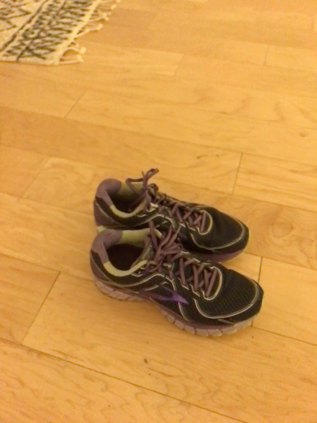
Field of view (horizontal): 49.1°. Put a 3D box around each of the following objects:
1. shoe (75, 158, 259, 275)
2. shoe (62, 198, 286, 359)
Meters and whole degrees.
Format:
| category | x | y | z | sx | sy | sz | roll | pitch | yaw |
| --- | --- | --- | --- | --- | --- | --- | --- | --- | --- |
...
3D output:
| category | x | y | z | sx | sy | sz | roll | pitch | yaw |
| --- | --- | --- | --- | --- | --- | --- | --- | --- | --- |
| shoe | 0.017 | 0.003 | 0.580 | 0.270 | 0.079 | 0.121 | 12 | 52 | 11 |
| shoe | 0.022 | 0.088 | 0.503 | 0.280 | 0.079 | 0.121 | 17 | 54 | 15 |
